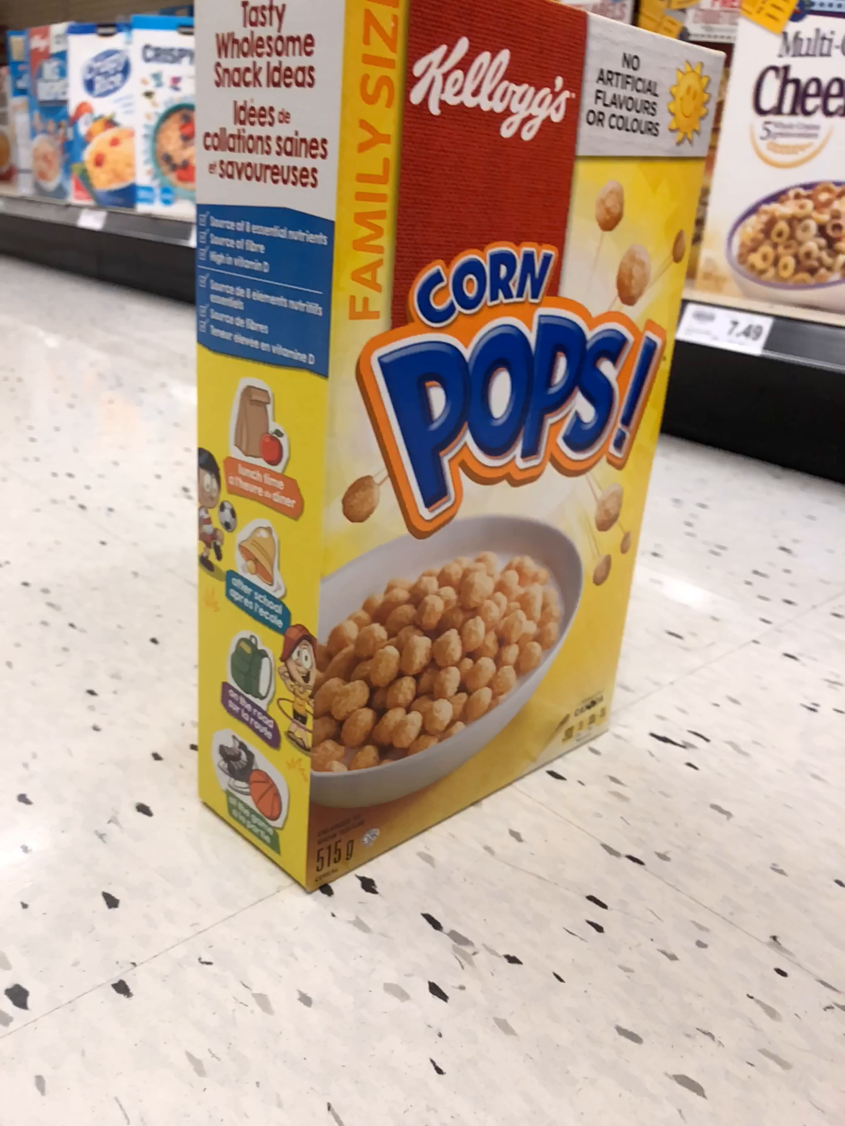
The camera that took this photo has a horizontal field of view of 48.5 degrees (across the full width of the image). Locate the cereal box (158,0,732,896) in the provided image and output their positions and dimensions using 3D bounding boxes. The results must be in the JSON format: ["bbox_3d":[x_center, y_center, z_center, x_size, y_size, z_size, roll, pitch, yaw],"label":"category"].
[{"bbox_3d":[0.006,-0.058,0.401,0.201,0.318,0.100,-15,29,-42],"label":"cereal box"}]
